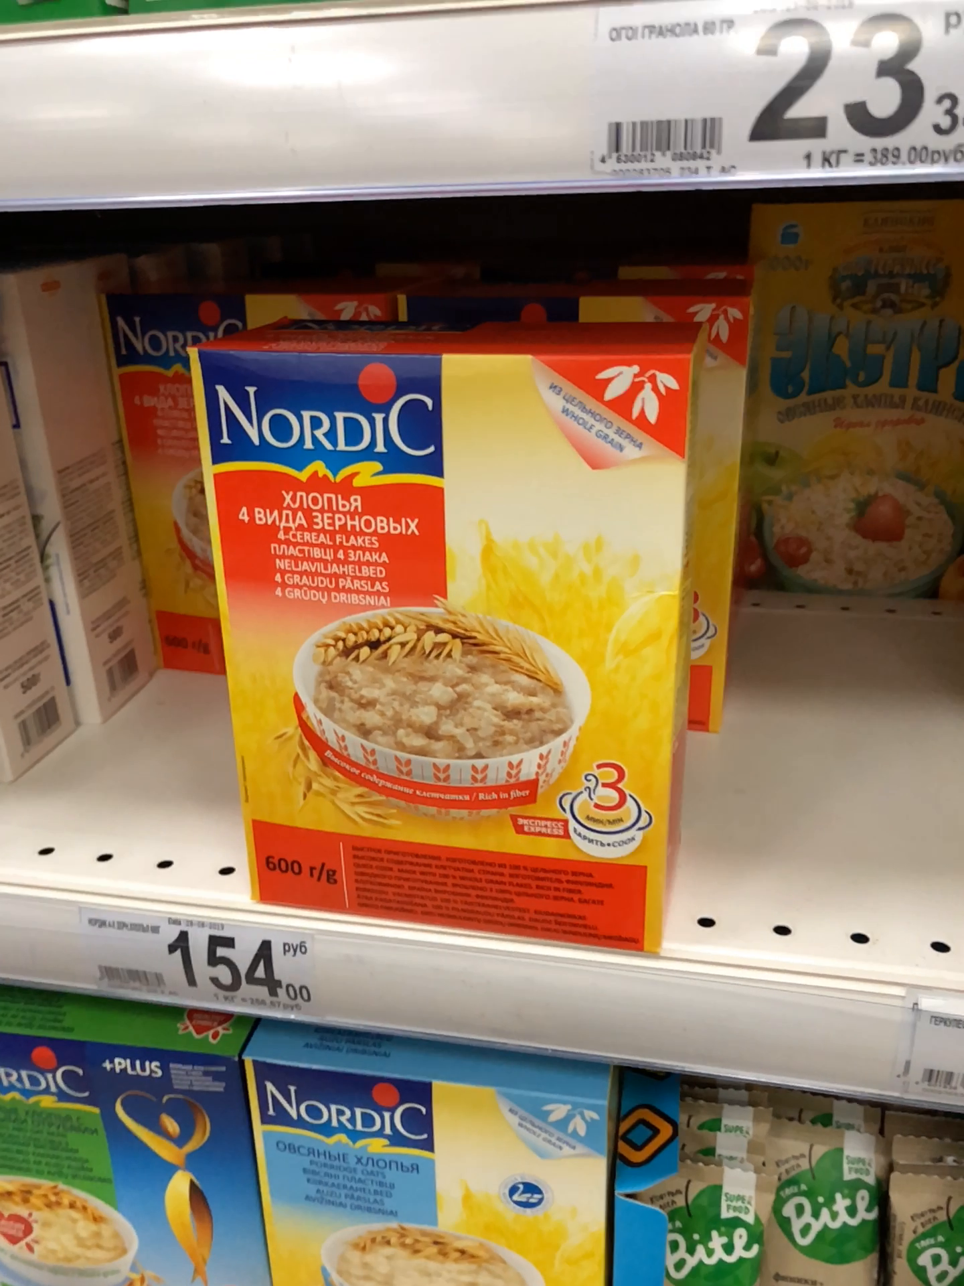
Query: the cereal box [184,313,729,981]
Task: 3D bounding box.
[{"bbox_3d":[0.000,-0.003,0.361,0.150,0.199,0.080,4,23,13],"label":"cereal box"}]
